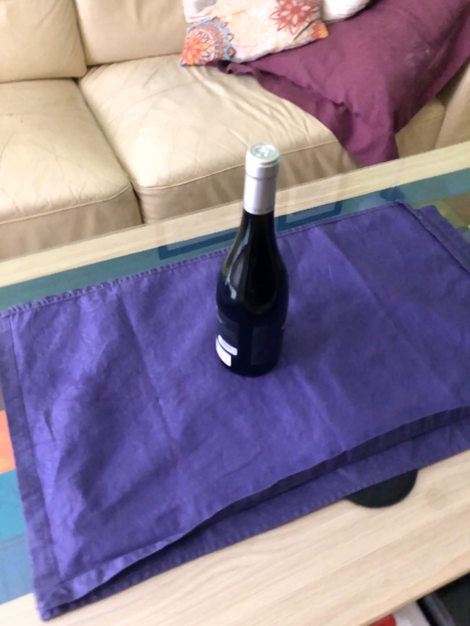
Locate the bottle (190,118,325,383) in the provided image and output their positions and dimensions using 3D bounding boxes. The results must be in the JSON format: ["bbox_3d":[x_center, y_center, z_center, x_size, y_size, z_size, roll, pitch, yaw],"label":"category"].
[{"bbox_3d":[0.014,-0.044,0.518,0.100,0.269,0.100,1,50,-1],"label":"bottle"}]
